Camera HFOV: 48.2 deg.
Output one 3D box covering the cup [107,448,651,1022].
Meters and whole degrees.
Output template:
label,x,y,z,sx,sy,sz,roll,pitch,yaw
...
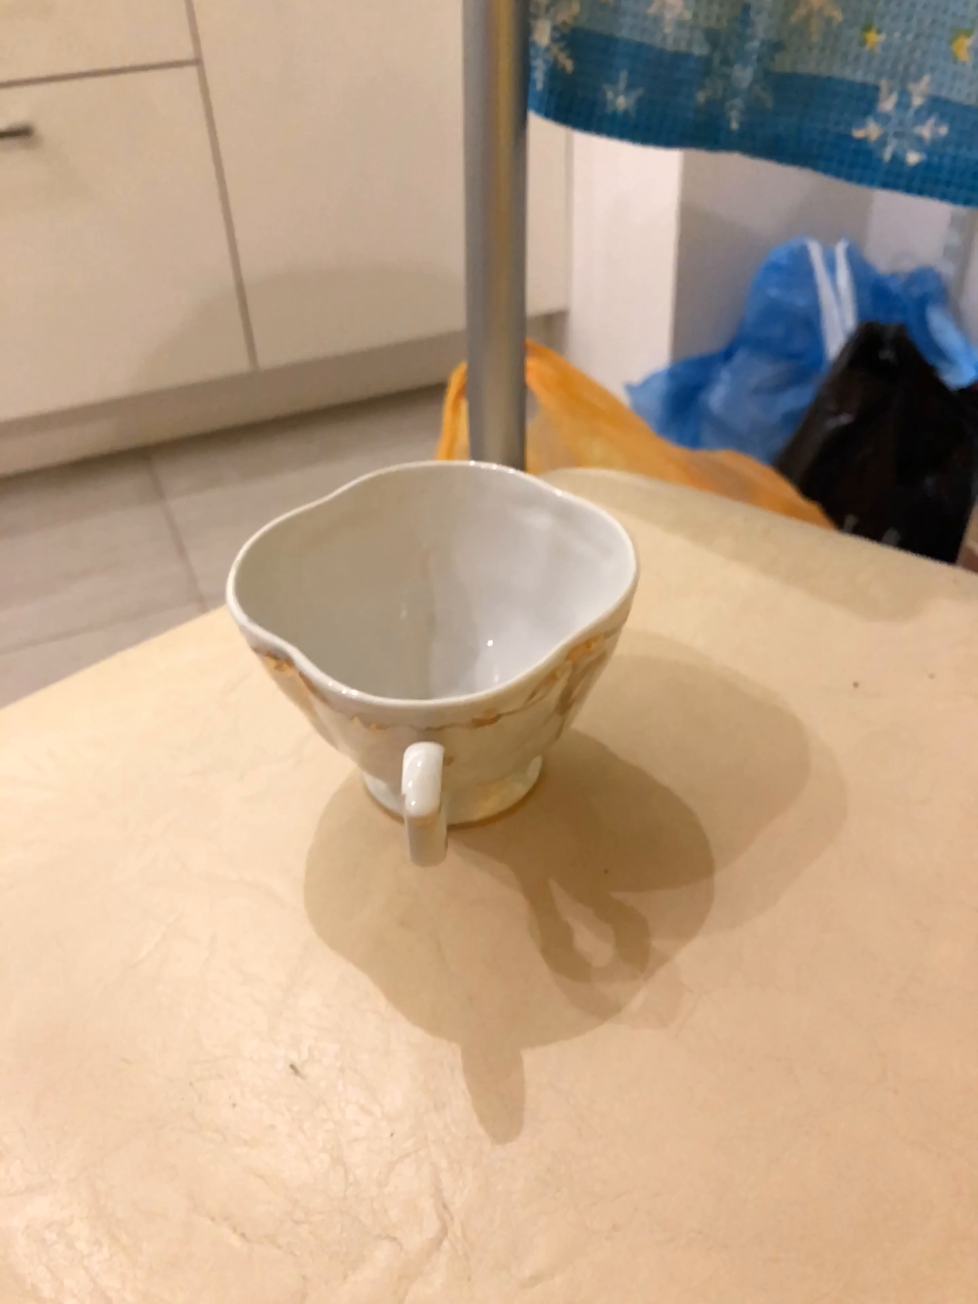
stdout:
label,x,y,z,sx,sy,sz,roll,pitch,yaw
cup,-0.016,0.011,0.274,0.100,0.064,0.140,0,38,4
